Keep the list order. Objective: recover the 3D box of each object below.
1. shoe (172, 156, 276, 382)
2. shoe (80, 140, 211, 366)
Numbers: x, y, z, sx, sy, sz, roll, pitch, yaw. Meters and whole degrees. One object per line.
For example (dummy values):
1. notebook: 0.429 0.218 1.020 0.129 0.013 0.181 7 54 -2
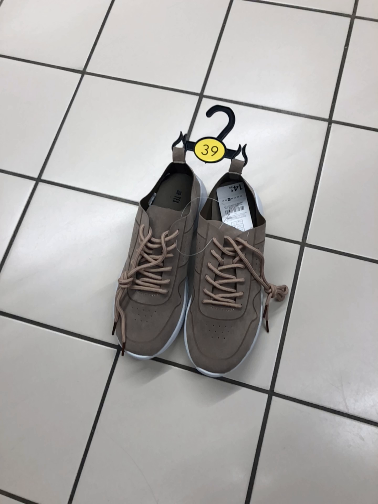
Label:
1. shoe: 0.047 0.020 0.511 0.100 0.080 0.258 4 73 5
2. shoe: -0.042 0.003 0.520 0.100 0.100 0.254 8 73 7
